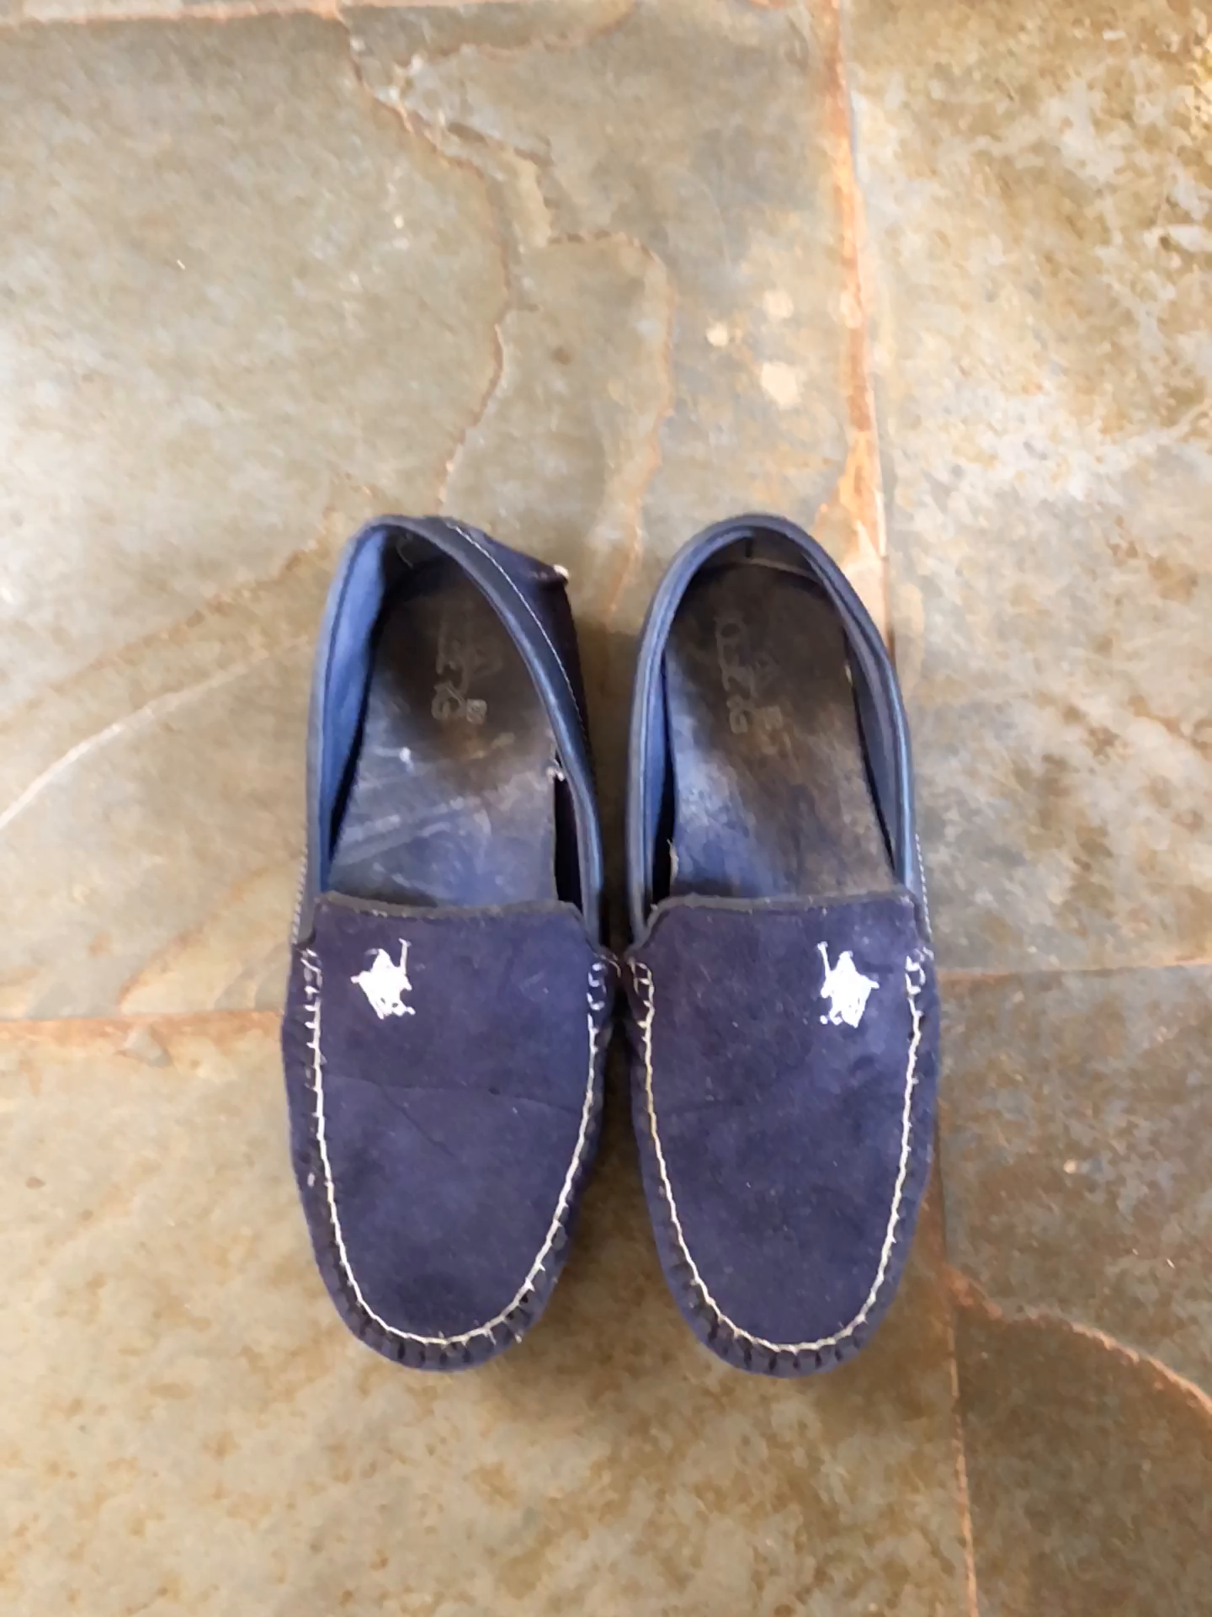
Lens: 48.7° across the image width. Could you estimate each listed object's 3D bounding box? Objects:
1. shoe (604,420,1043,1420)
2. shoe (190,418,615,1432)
[{"bbox_3d":[0.053,0.028,0.394,0.100,0.090,0.260,-1,78,1],"label":"shoe"},{"bbox_3d":[-0.051,0.029,0.390,0.100,0.090,0.260,-1,78,1],"label":"shoe"}]
